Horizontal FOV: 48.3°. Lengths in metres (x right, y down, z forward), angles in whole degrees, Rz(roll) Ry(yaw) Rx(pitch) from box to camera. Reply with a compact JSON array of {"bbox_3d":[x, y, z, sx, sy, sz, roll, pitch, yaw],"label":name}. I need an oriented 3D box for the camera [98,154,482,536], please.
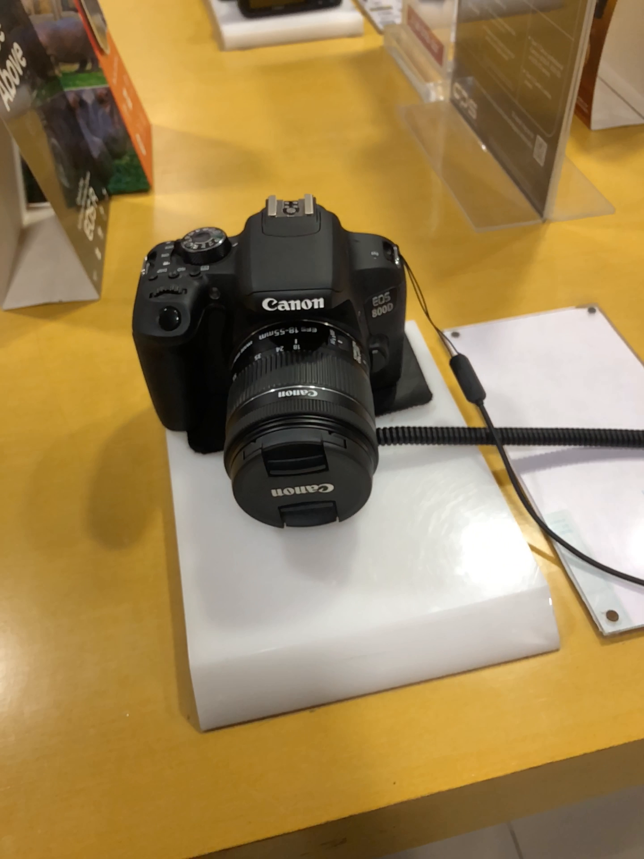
[{"bbox_3d":[-0.012,-0.039,0.302,0.120,0.089,0.131,-3,48,0],"label":"camera"}]
